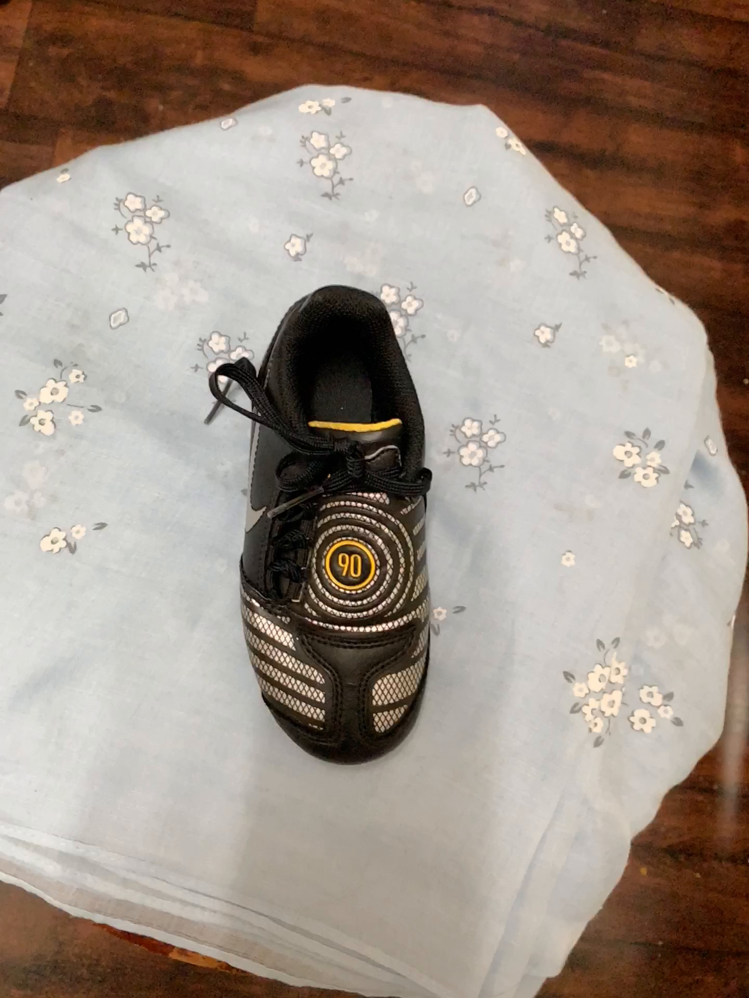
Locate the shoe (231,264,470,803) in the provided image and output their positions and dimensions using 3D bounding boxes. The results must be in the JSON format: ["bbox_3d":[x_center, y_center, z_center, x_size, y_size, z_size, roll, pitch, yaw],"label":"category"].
[{"bbox_3d":[-0.013,0.012,0.309,0.080,0.070,0.190,0,80,-6],"label":"shoe"}]
